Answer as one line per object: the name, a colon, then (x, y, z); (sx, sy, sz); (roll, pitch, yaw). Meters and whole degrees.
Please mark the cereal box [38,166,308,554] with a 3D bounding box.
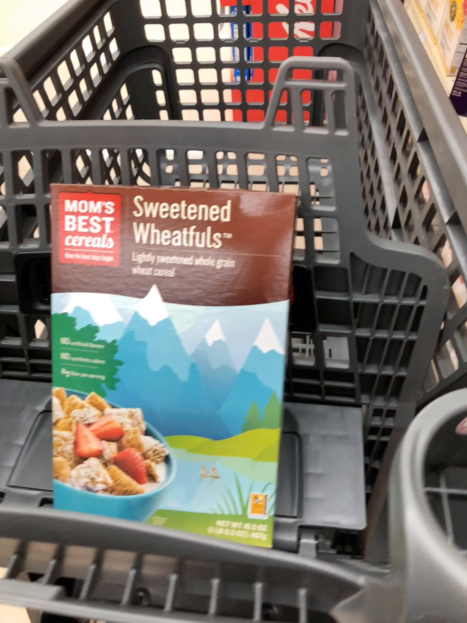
cereal box: (-0.050, 0.034, 0.438); (0.200, 0.290, 0.080); (5, 10, 9)
